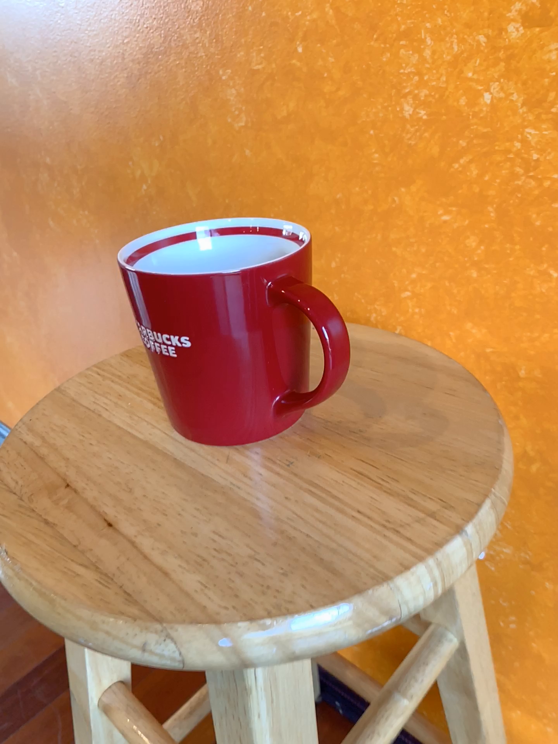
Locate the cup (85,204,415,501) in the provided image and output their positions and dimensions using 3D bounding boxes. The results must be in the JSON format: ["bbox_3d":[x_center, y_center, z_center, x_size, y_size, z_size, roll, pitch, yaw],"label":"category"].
[{"bbox_3d":[-0.015,-0.024,0.315,0.100,0.099,0.141,-28,35,-36],"label":"cup"}]
